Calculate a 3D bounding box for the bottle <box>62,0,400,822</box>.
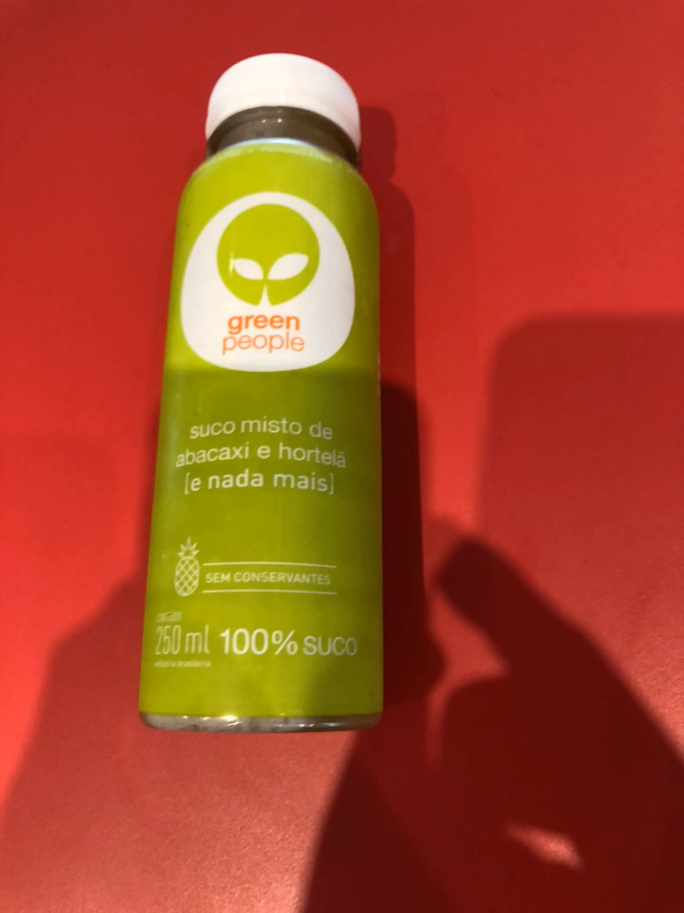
[{"bbox_3d":[-0.018,-0.015,0.177,0.060,0.050,0.170,0,79,2],"label":"bottle"}]
